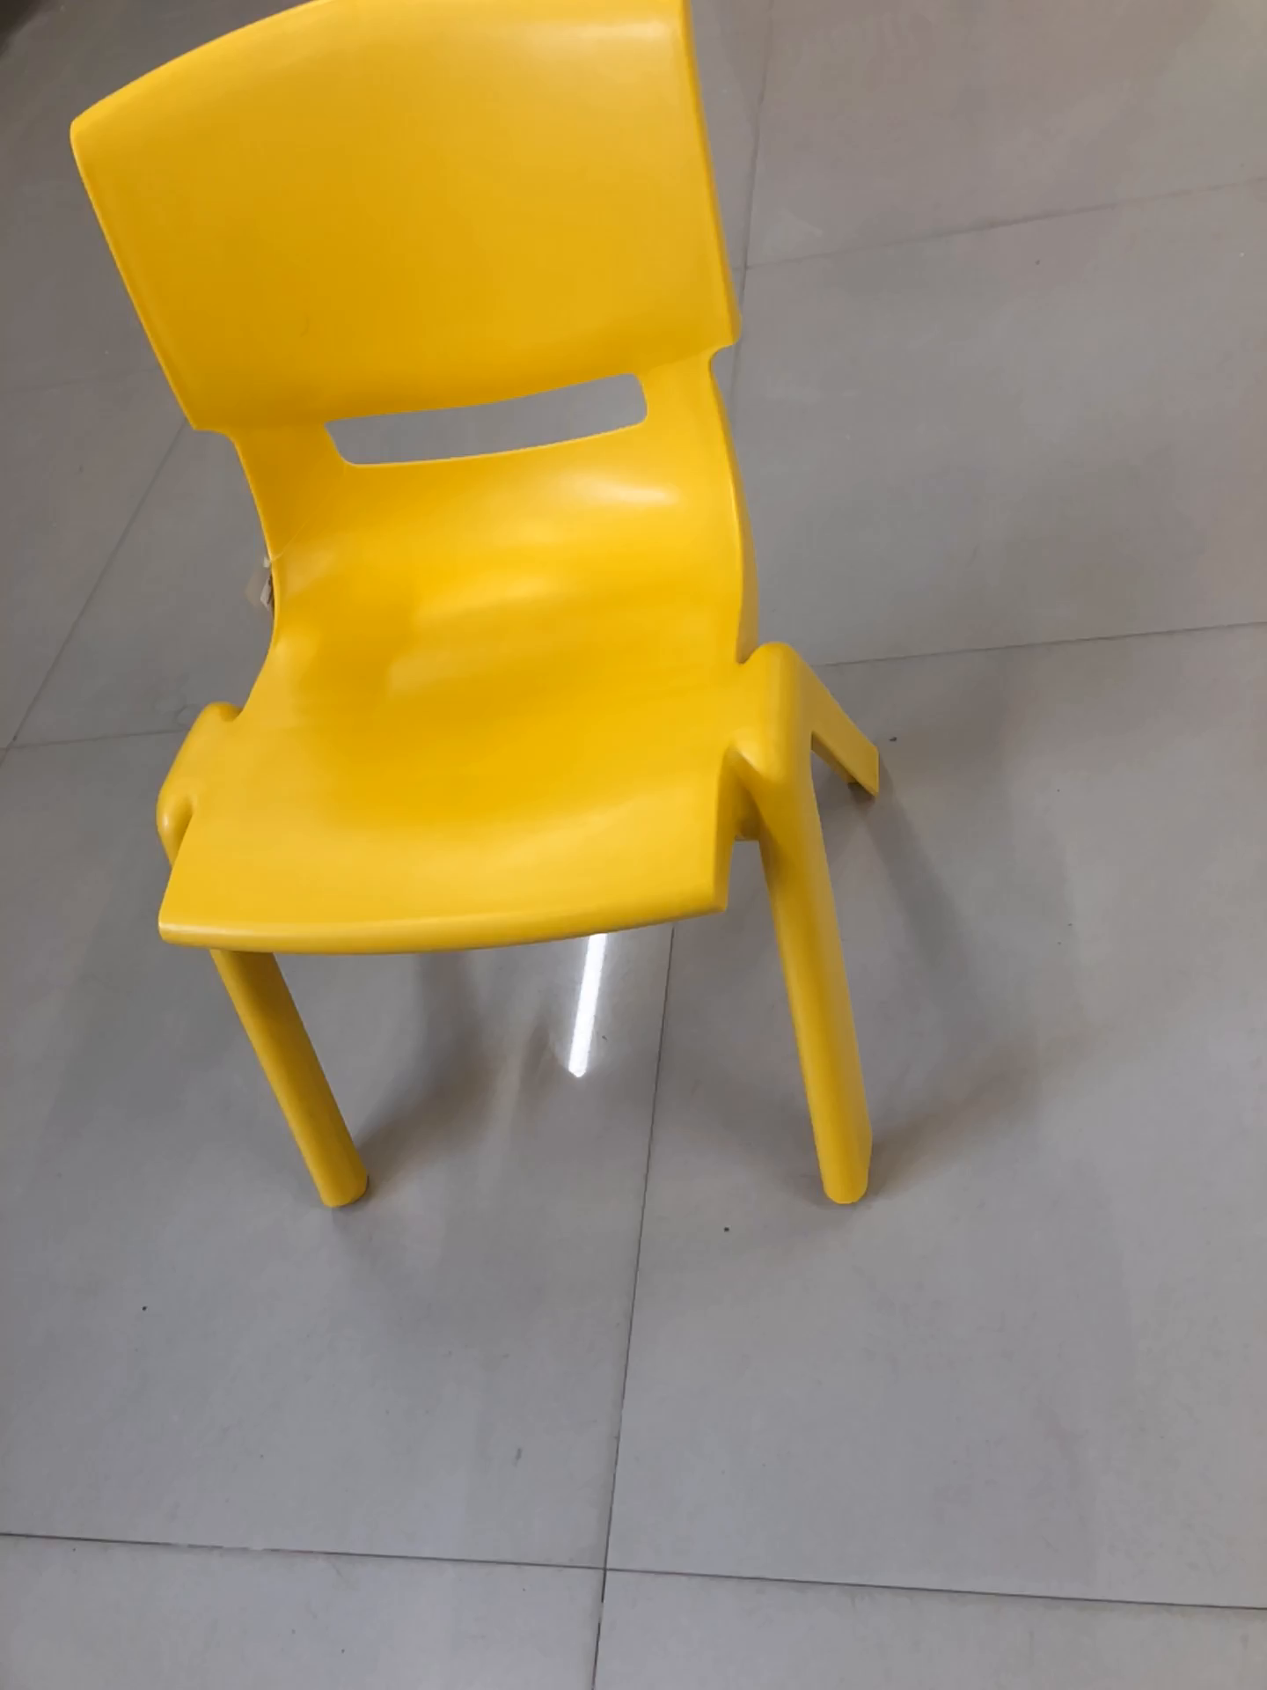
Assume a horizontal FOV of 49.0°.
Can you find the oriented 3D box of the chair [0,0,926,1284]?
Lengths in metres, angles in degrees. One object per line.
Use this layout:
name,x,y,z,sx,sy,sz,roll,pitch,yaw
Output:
chair,-0.074,-0.097,0.646,0.360,0.398,0.453,-5,49,13
